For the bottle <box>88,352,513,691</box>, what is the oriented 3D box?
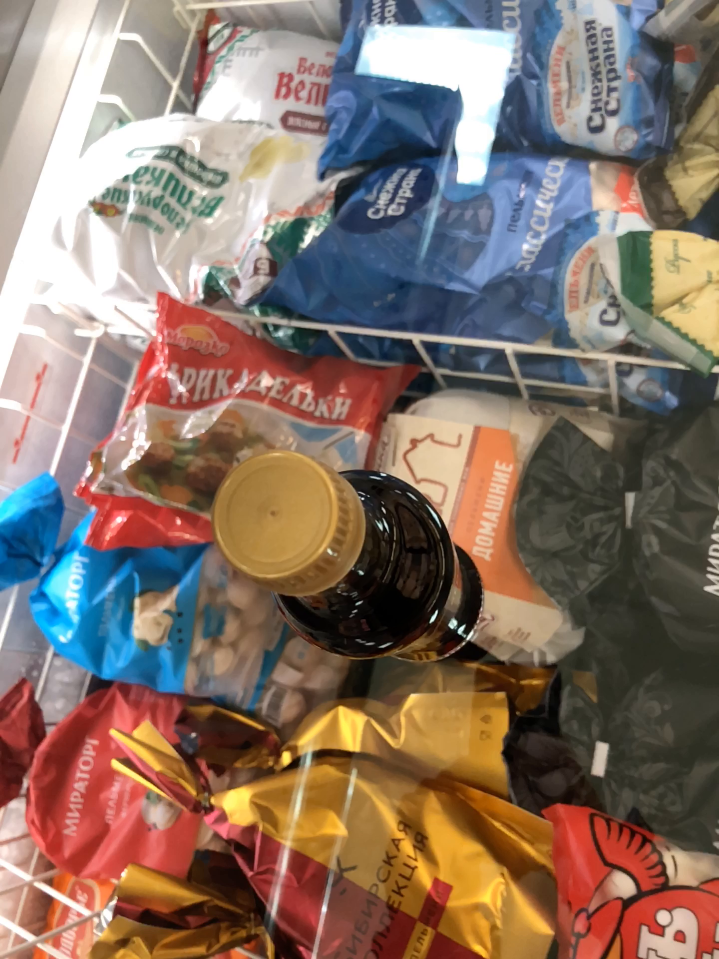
[{"bbox_3d":[0.002,0.029,0.264,0.070,0.180,0.070,-5,73,17],"label":"bottle"}]
